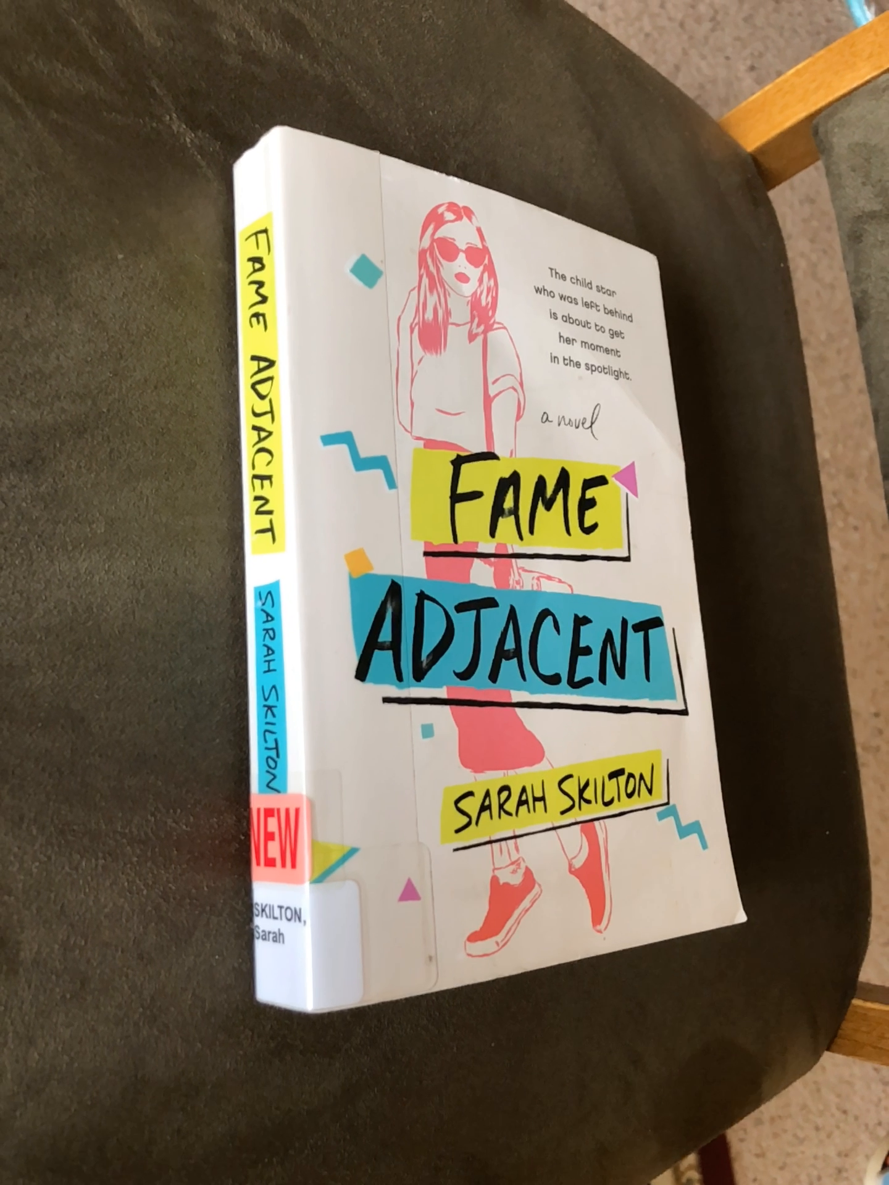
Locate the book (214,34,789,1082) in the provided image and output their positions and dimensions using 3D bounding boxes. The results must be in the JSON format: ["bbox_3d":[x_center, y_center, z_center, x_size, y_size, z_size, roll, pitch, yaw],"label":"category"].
[{"bbox_3d":[0.017,-0.010,0.259,0.141,0.040,0.220,3,78,-35],"label":"book"}]
